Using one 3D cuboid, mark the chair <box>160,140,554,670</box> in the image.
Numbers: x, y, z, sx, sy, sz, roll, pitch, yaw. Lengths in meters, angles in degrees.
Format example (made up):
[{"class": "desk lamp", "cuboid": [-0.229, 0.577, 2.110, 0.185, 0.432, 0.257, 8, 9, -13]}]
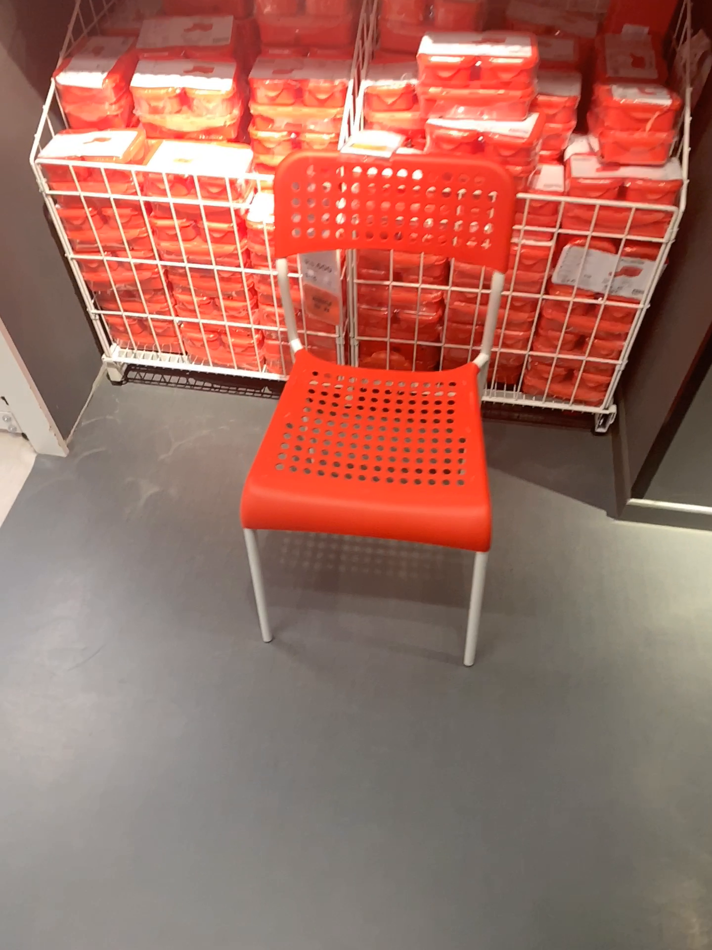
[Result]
[{"class": "chair", "cuboid": [0.033, -0.071, 1.156, 0.410, 0.688, 0.461, 6, 53, 6]}]
